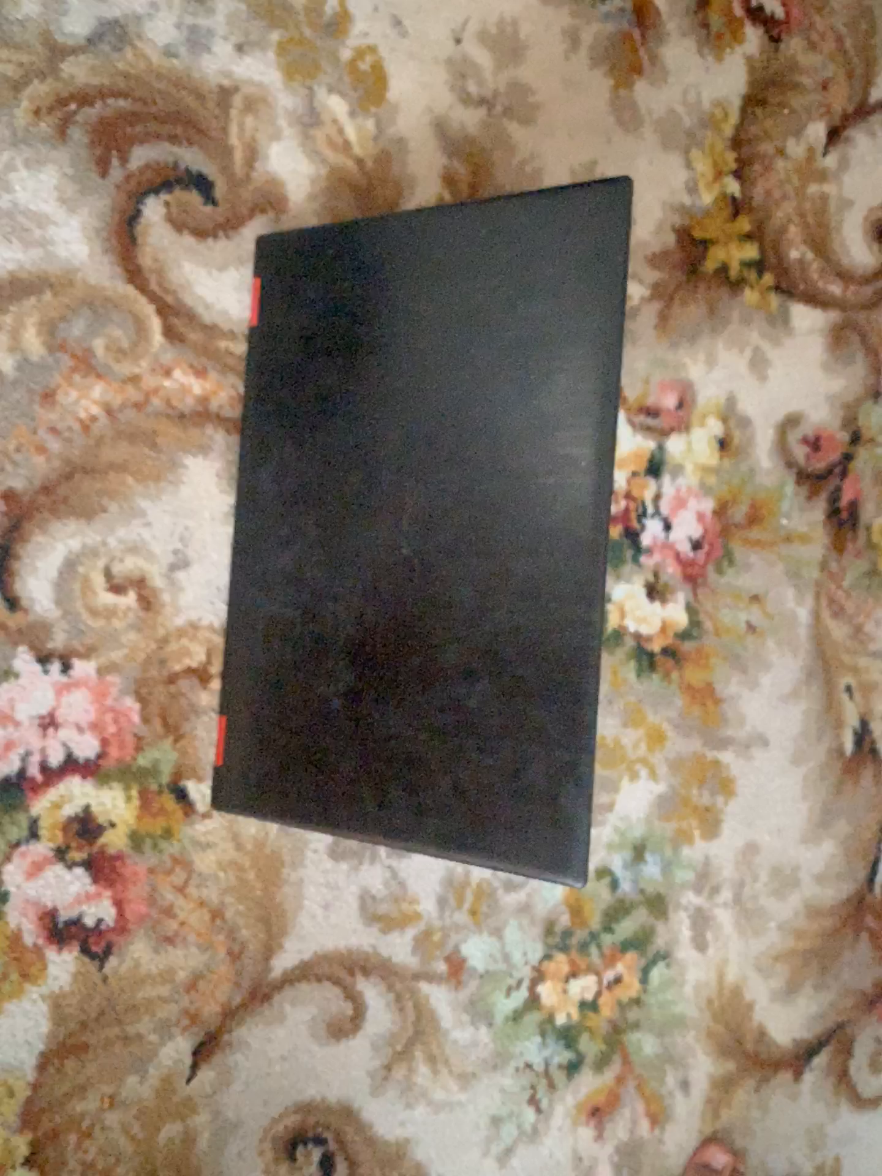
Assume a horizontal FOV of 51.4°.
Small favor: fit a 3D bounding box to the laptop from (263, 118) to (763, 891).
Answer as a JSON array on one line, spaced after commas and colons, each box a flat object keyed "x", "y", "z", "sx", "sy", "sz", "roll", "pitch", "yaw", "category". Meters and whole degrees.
[{"x": 0.035, "y": -0.031, "z": 0.547, "sx": 0.225, "sy": 0.172, "sz": 0.356, "roll": 5, "pitch": 89, "yaw": -24, "category": "laptop"}]
